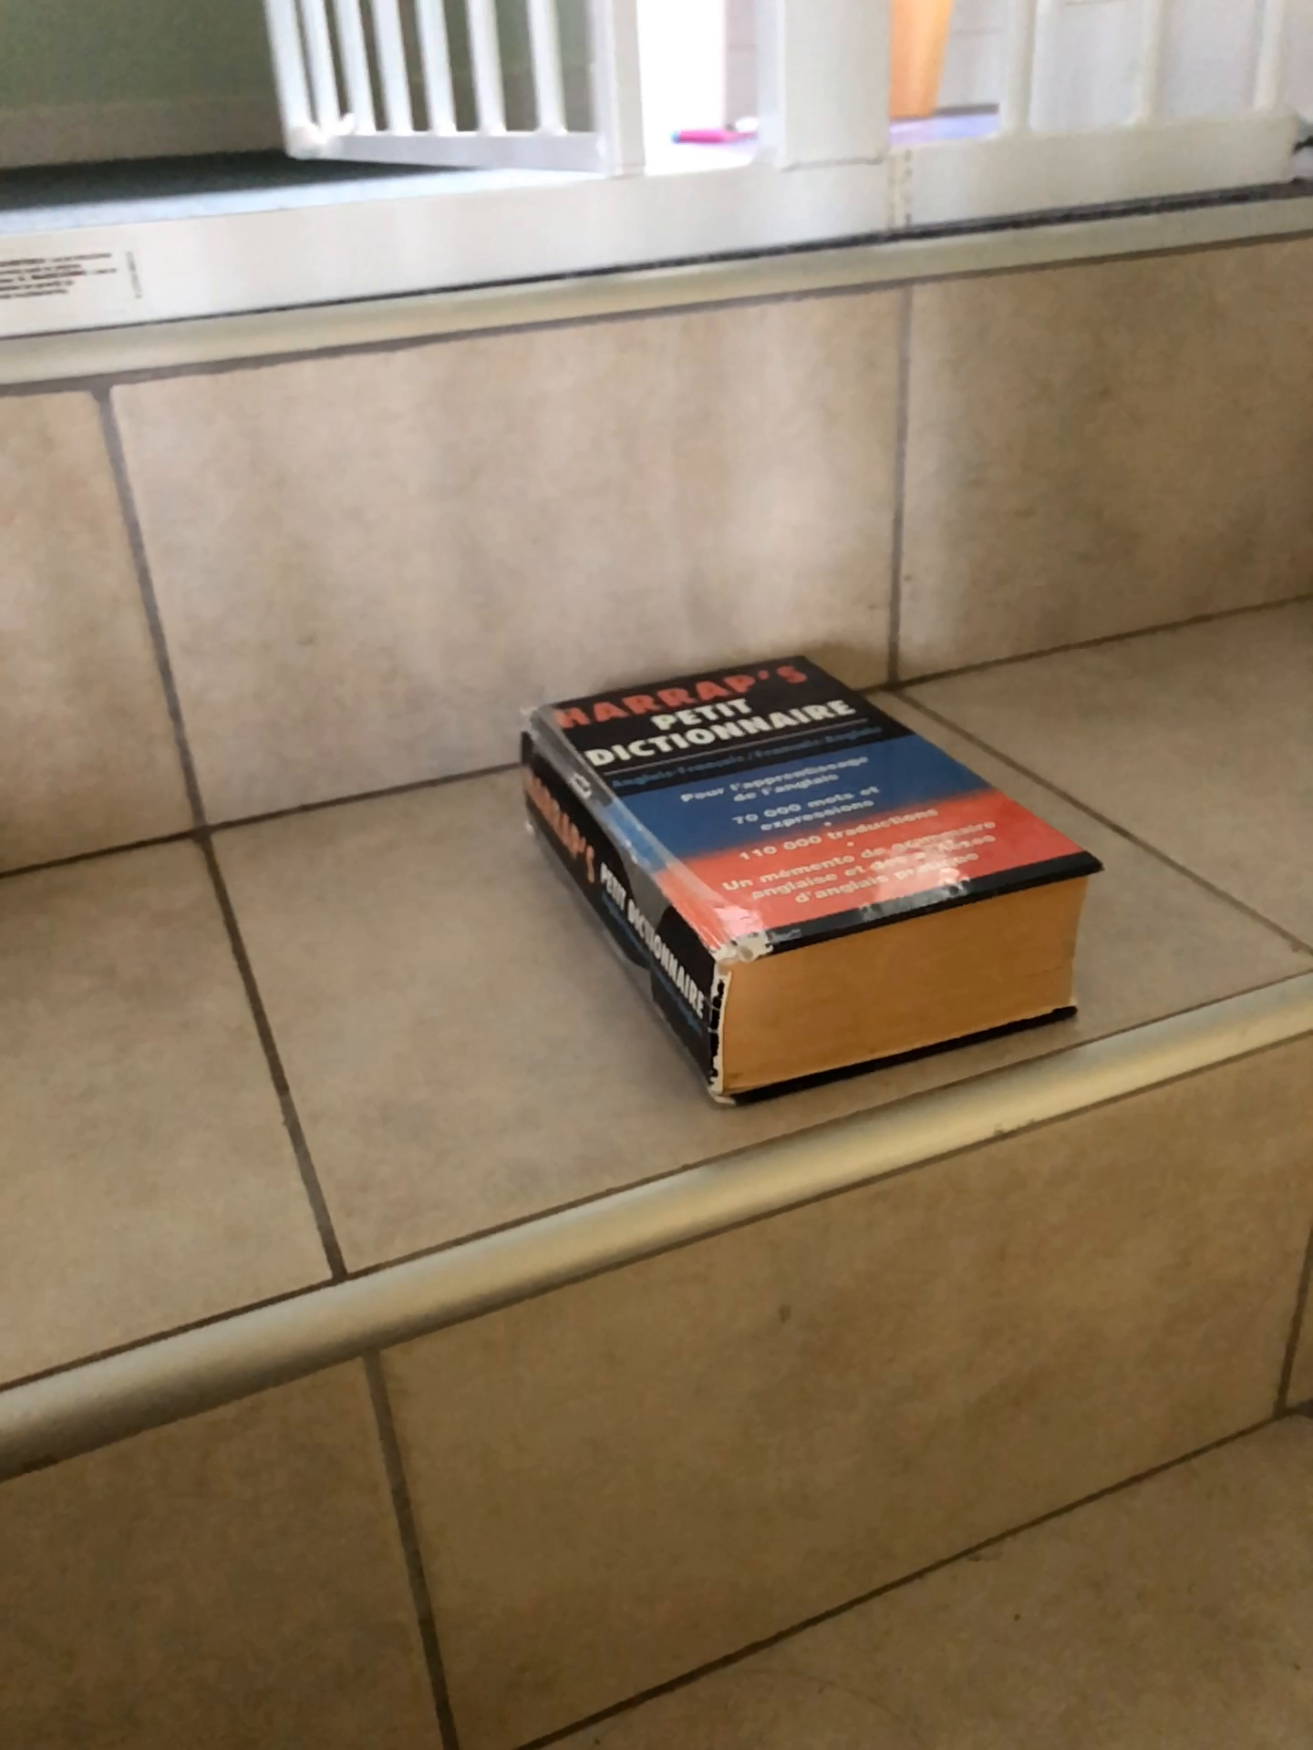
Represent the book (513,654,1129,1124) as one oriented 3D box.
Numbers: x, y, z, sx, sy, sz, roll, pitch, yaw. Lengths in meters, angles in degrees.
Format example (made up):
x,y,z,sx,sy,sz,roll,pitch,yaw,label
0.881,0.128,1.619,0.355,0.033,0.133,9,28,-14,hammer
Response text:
x,y,z,sx,sy,sz,roll,pitch,yaw,label
0.040,-0.009,0.459,0.118,0.050,0.186,-13,29,-17,book
